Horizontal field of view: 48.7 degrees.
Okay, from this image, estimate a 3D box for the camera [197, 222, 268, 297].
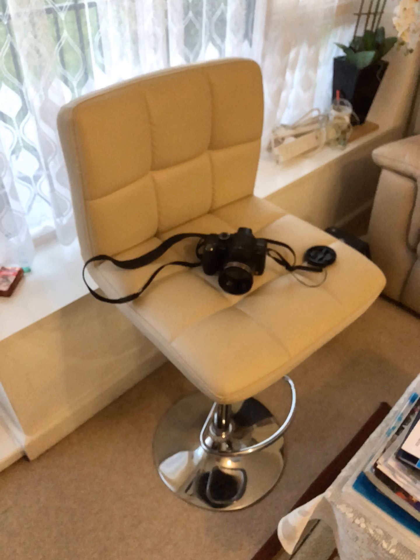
[{"bbox_3d":[0.039,-0.037,0.800,0.111,0.076,0.098,6,41,4],"label":"camera"}]
